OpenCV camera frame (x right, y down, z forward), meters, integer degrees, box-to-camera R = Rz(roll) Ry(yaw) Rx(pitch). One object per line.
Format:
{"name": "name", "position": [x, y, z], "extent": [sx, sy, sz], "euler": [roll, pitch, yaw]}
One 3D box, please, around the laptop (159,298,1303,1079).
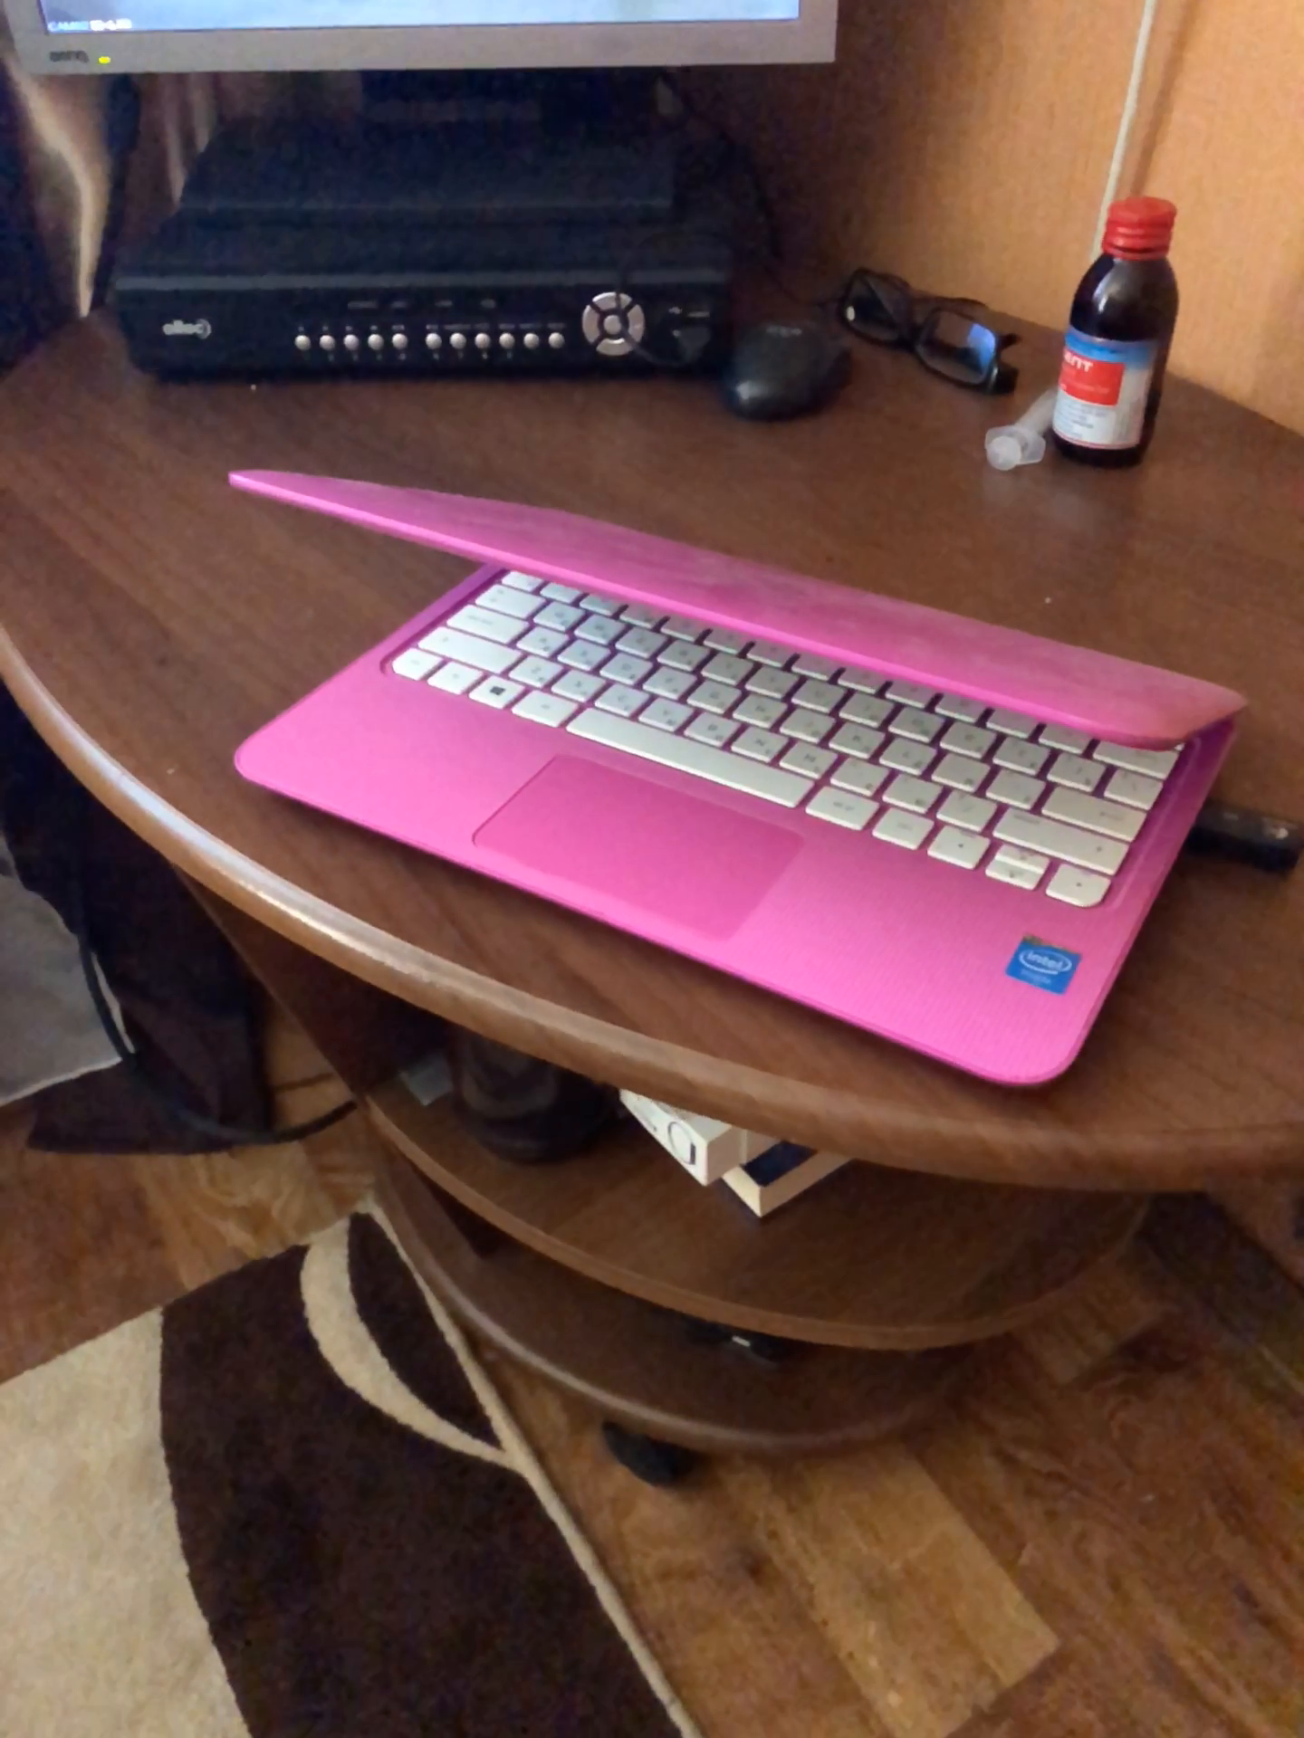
{"name": "laptop", "position": [0.028, -0.077, 0.424], "extent": [0.264, 0.081, 0.187], "euler": [20, 45, 24]}
